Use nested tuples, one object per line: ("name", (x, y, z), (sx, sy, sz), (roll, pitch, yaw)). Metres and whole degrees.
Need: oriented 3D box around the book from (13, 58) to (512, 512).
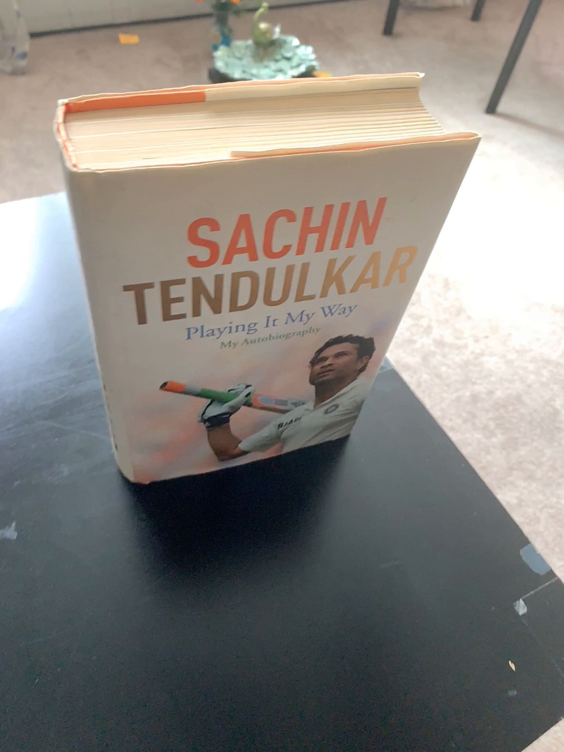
("book", (-0.018, -0.026, 0.305), (0.170, 0.238, 0.060), (-10, 55, -15))
